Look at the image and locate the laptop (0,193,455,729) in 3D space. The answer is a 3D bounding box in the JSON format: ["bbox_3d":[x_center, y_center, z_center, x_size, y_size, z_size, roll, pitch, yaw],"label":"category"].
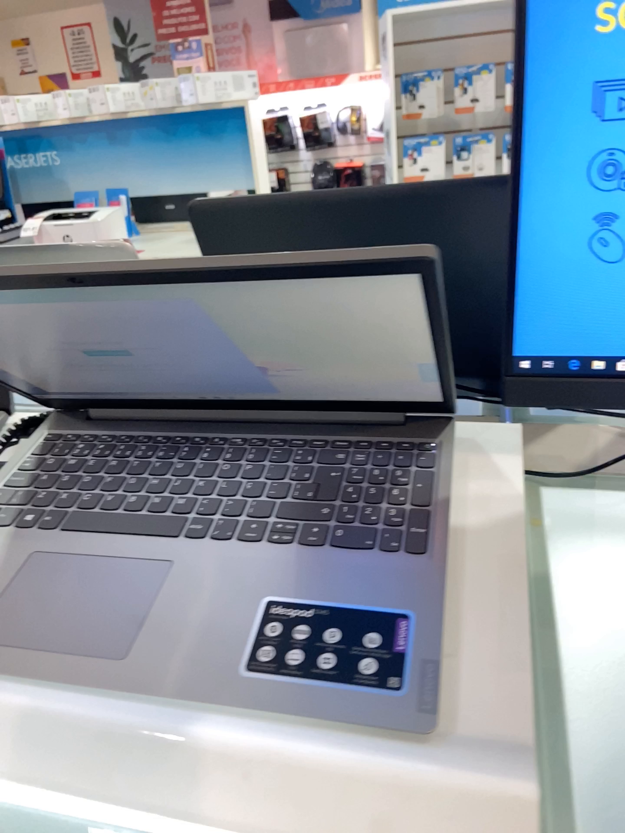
[{"bbox_3d":[-0.099,-0.001,0.410,0.359,0.163,0.243,0,34,15],"label":"laptop"}]

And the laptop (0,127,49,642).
[{"bbox_3d":[-0.489,-0.074,0.547,0.346,0.224,0.353,1,34,12],"label":"laptop"}]
